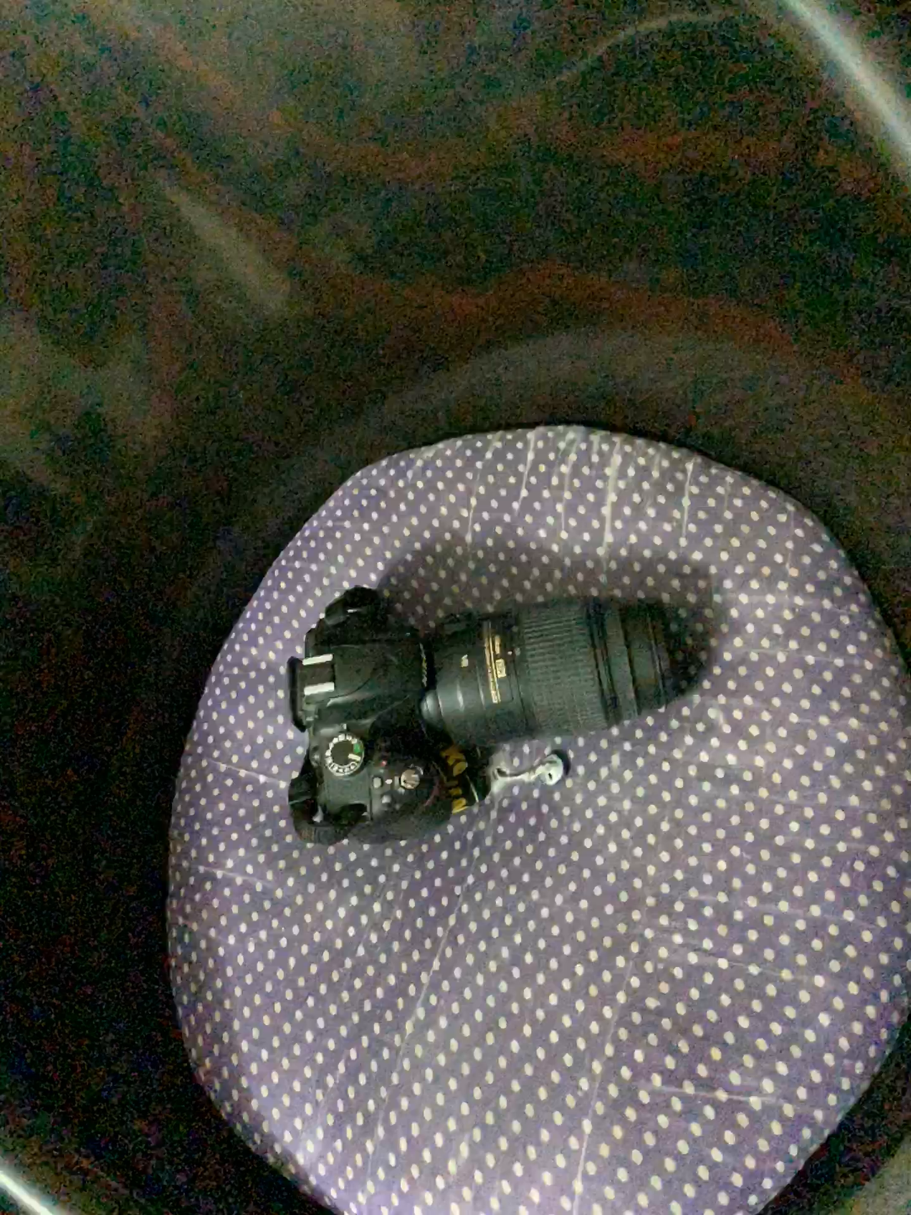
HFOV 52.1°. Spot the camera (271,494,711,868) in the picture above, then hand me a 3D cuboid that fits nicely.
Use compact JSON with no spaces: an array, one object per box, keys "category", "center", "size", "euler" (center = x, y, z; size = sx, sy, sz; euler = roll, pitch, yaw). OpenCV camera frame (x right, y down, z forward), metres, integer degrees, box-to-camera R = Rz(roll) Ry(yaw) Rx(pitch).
[{"category":"camera","center":[0.018,0.046,0.491],"size":[0.200,0.100,0.140],"euler":[-11,65,10]}]
